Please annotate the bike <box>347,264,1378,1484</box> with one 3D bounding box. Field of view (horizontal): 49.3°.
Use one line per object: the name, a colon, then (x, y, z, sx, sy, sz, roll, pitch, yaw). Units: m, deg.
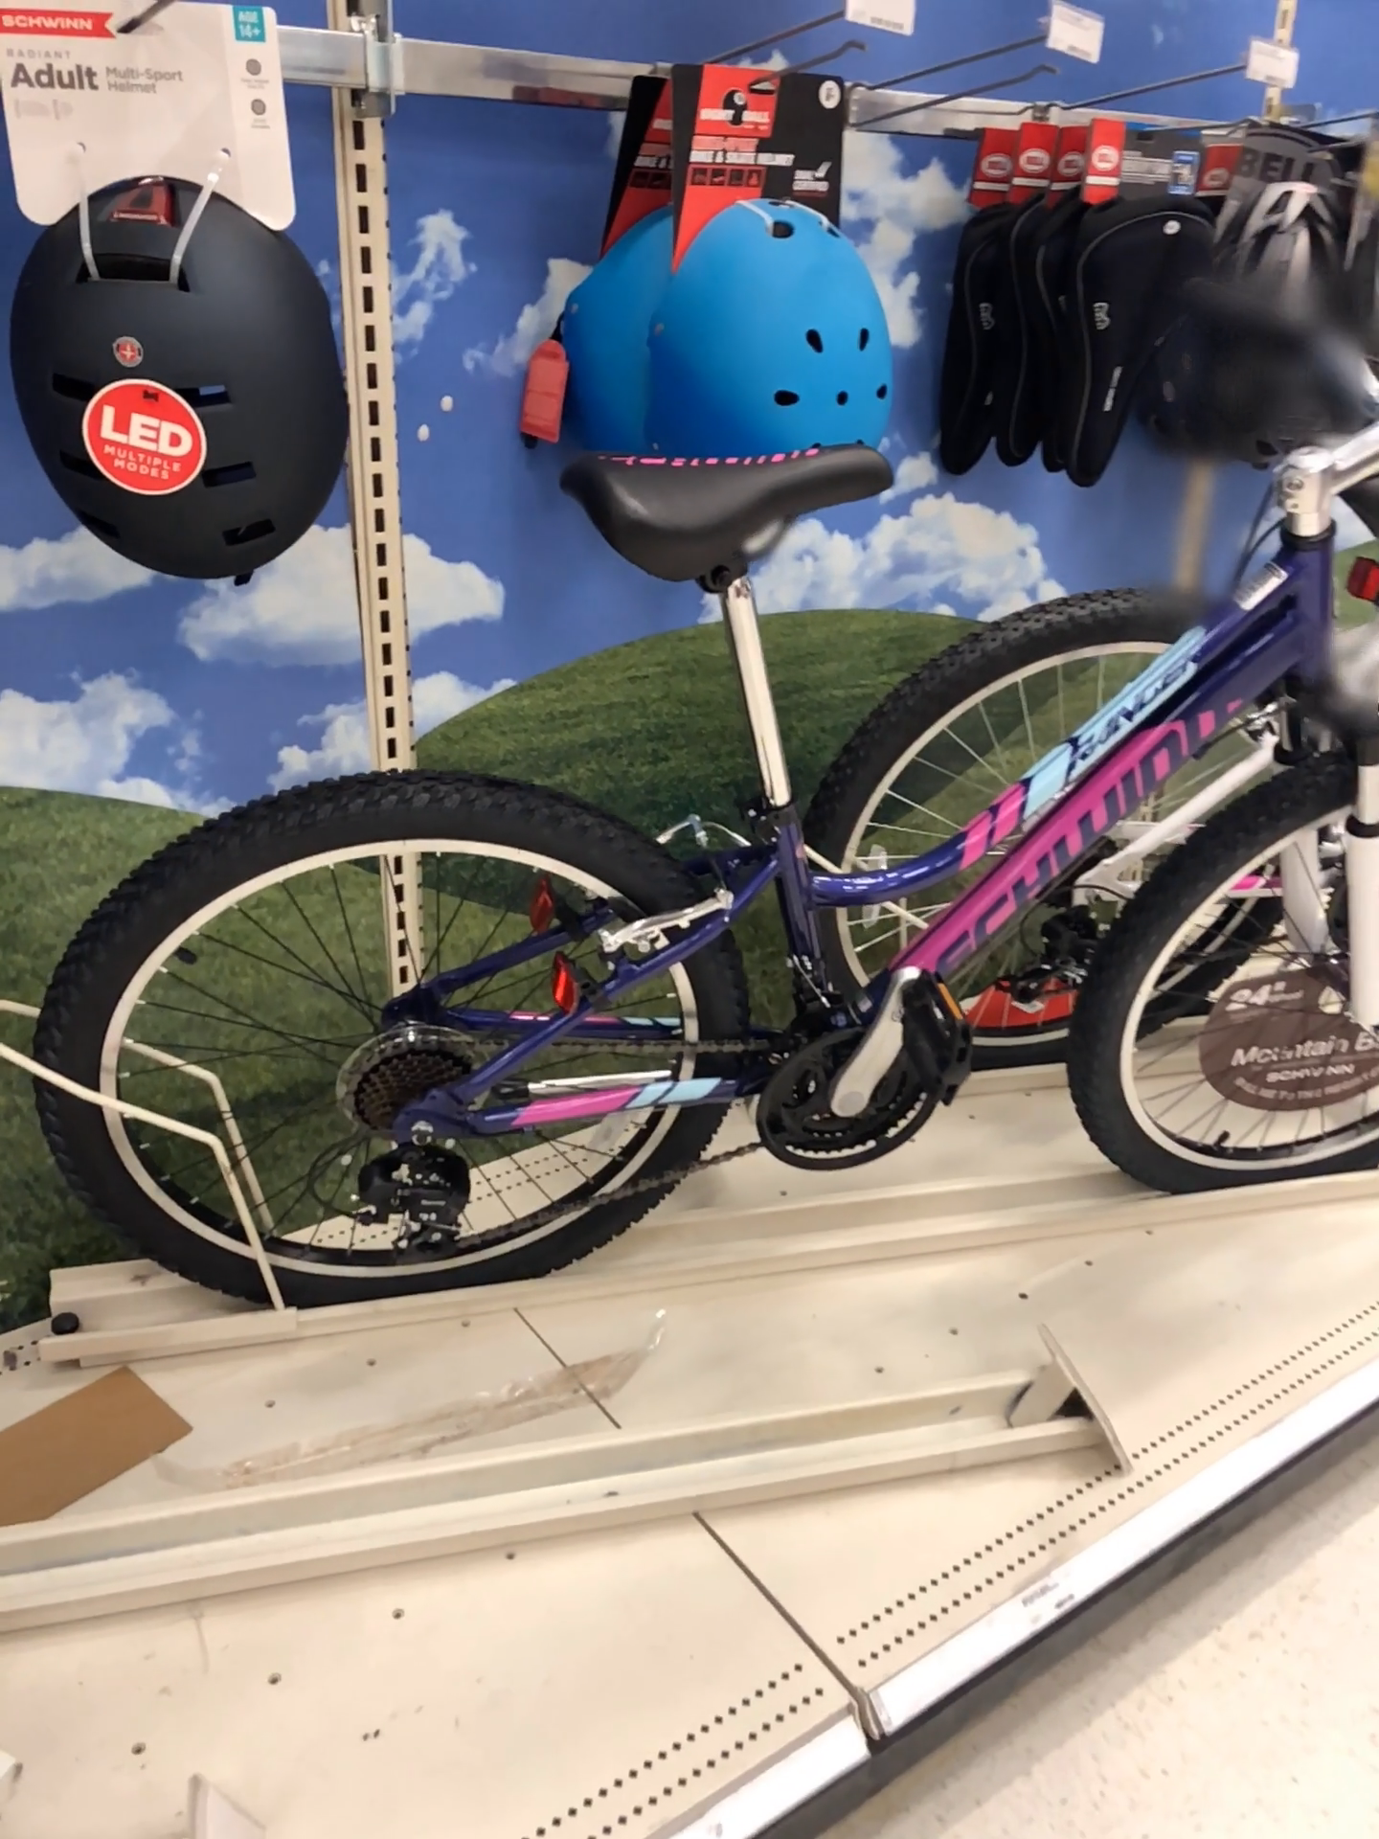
bike: (0.383, -0.103, 1.264, 1.223, 0.799, 0.570, -2, 25, -7)
